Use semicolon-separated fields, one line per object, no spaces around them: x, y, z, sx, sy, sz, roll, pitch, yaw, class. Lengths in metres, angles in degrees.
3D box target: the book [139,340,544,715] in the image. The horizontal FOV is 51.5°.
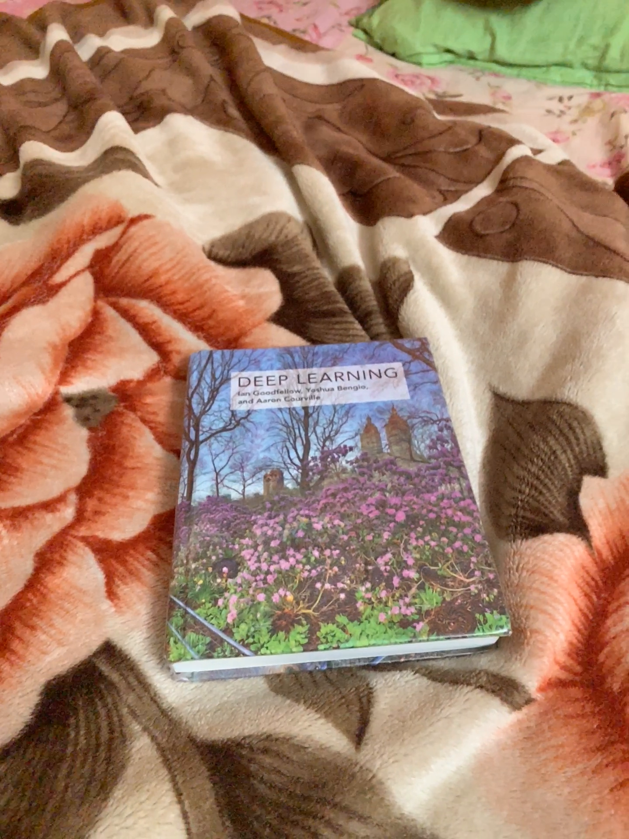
0.006;0.048;0.435;0.210;0.030;0.262;-2;48;-4;book
